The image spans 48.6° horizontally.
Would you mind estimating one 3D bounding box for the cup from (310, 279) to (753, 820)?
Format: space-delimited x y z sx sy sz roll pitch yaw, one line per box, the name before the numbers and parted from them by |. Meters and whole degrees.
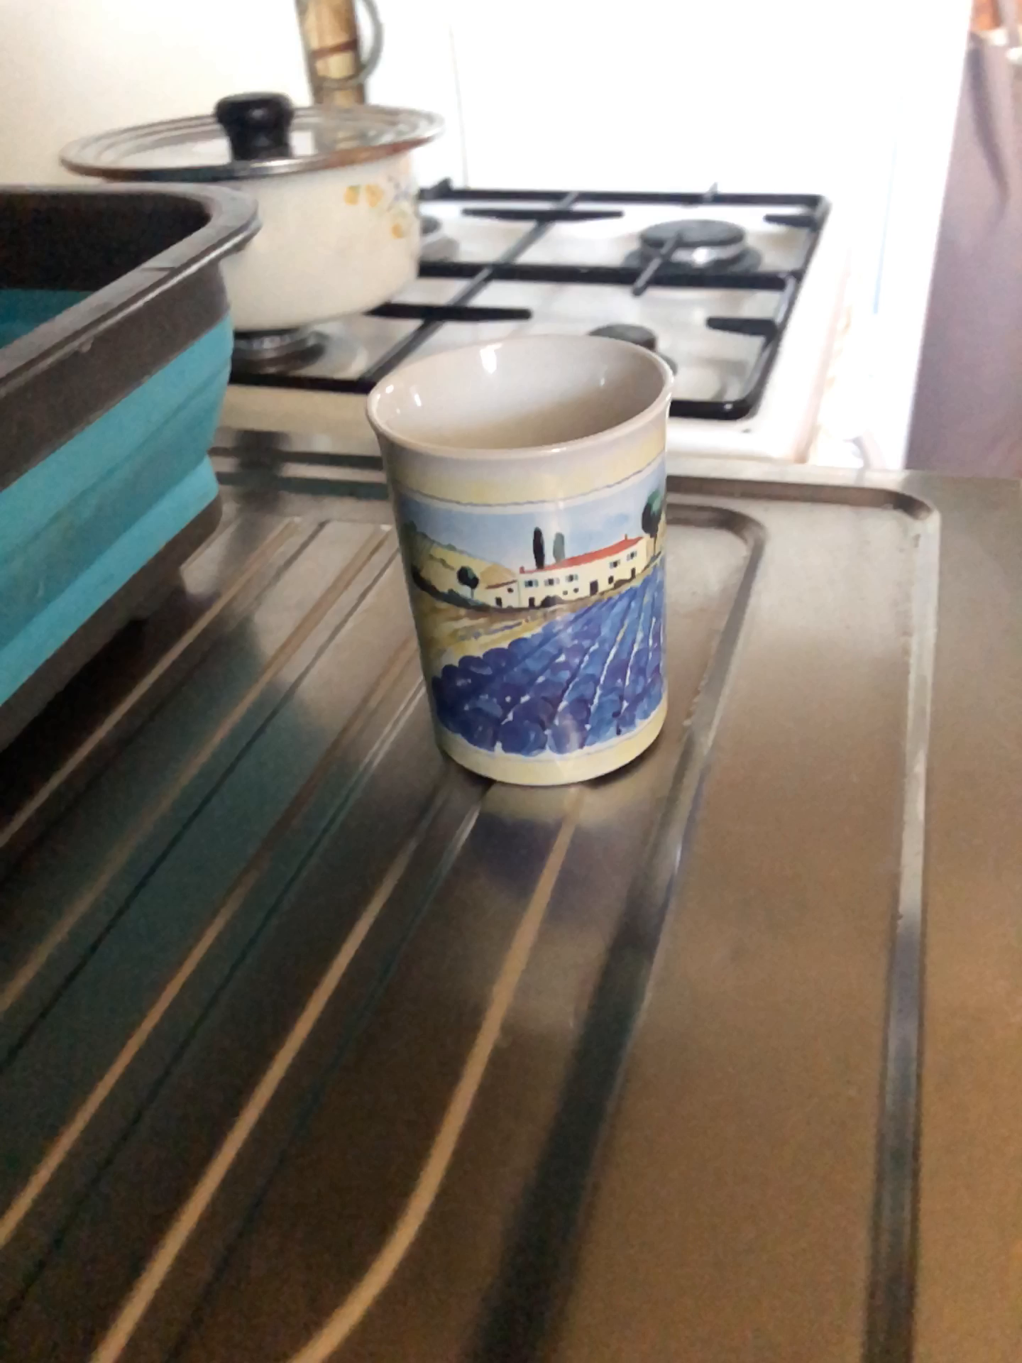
cup | 0.002 -0.043 0.315 0.070 0.099 0.110 -18 37 -20
